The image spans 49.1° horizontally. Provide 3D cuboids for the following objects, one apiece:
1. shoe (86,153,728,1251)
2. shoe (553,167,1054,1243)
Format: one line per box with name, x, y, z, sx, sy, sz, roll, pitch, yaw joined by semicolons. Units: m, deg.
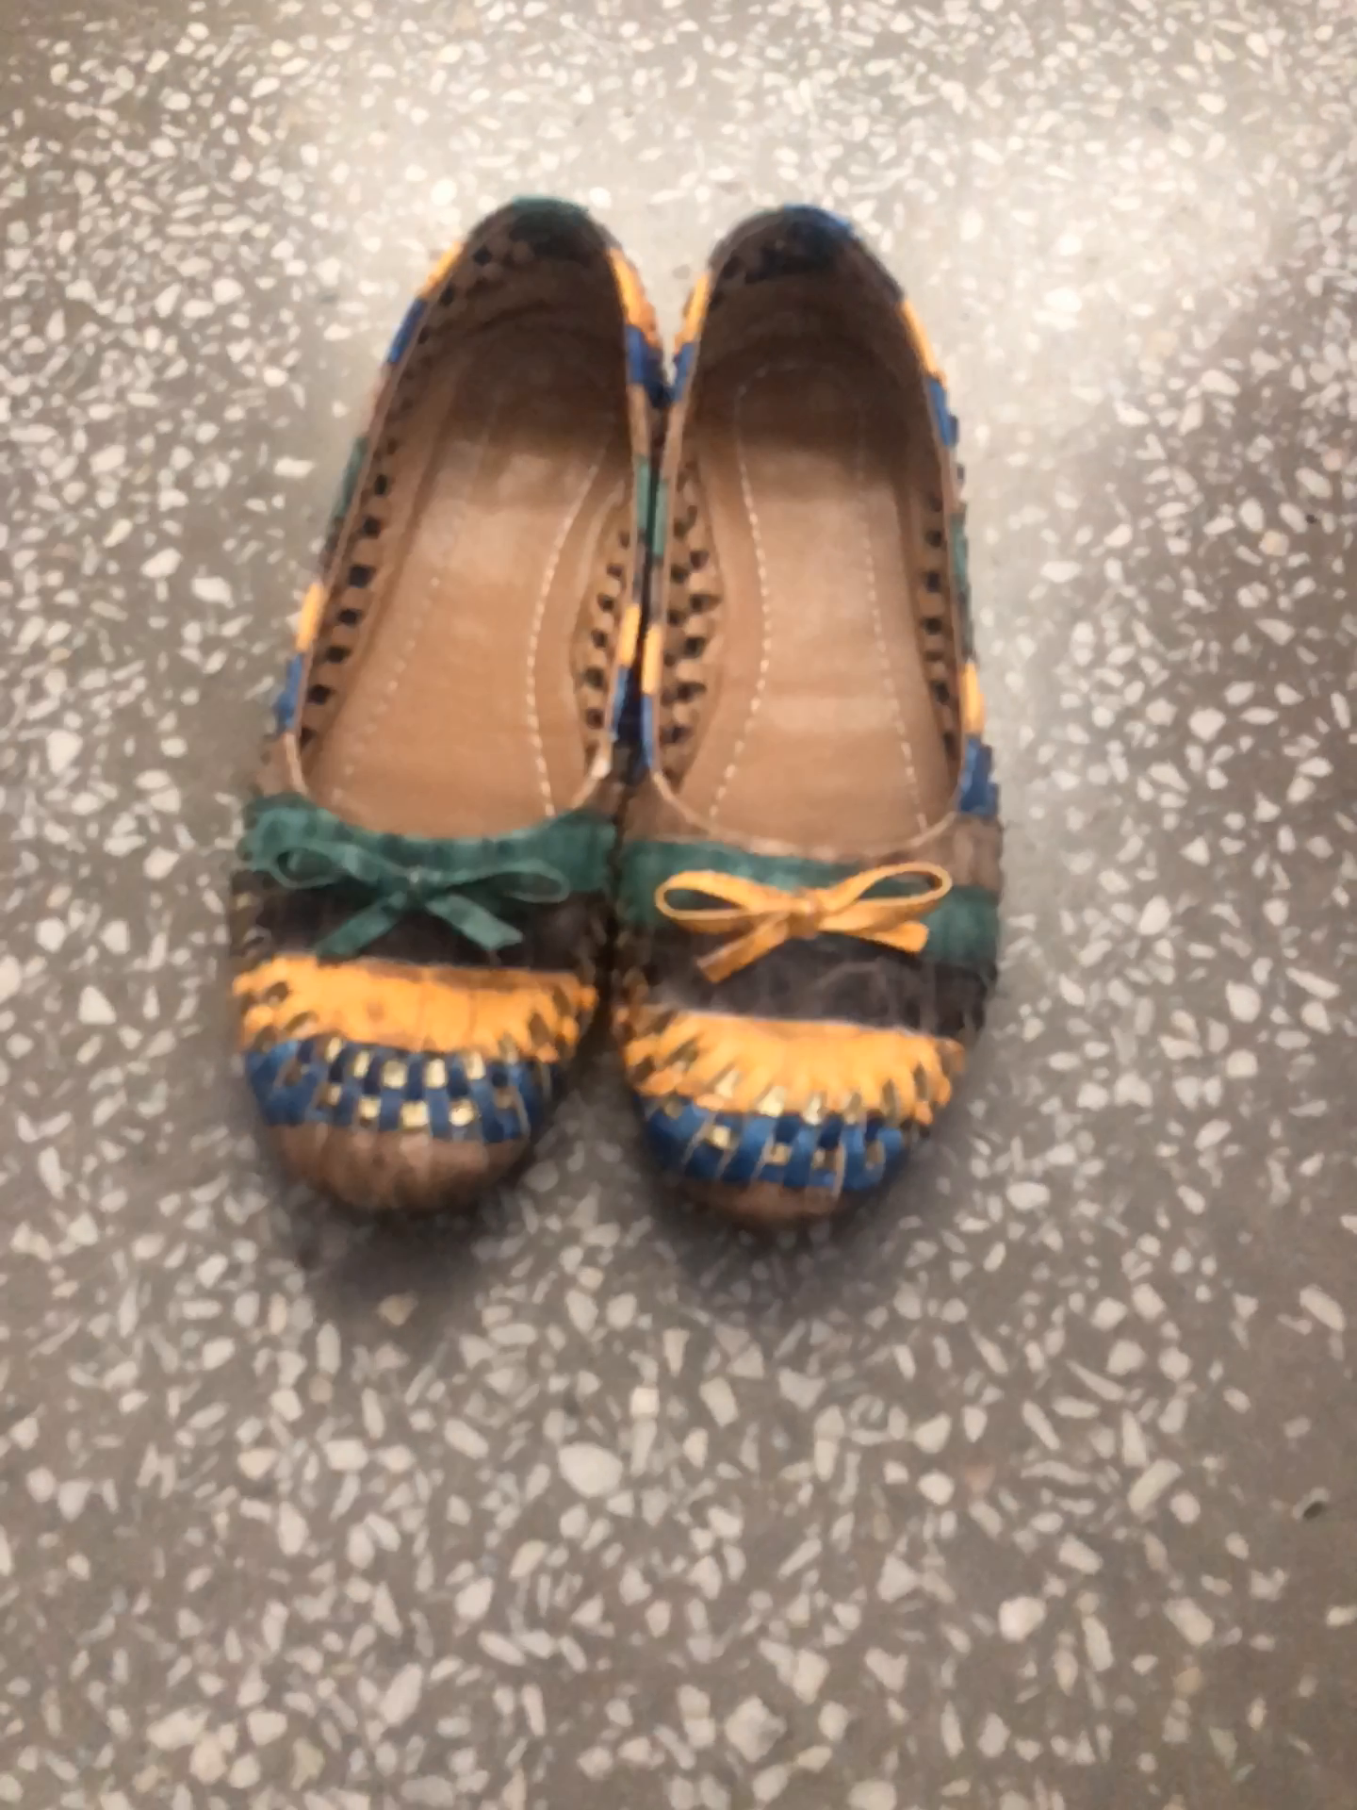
shoe;-0.048;-0.051;0.343;0.090;0.074;0.237;7;69;2
shoe;0.027;-0.049;0.343;0.090;0.074;0.237;2;69;1
